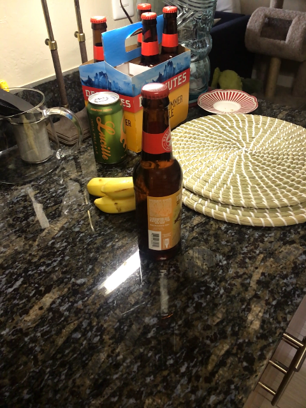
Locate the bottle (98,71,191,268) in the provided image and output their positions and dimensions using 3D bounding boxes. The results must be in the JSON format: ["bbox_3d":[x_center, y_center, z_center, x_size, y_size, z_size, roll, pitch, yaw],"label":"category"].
[{"bbox_3d":[-0.005,-0.027,0.355,0.060,0.199,0.060,-1,40,1],"label":"bottle"}]
